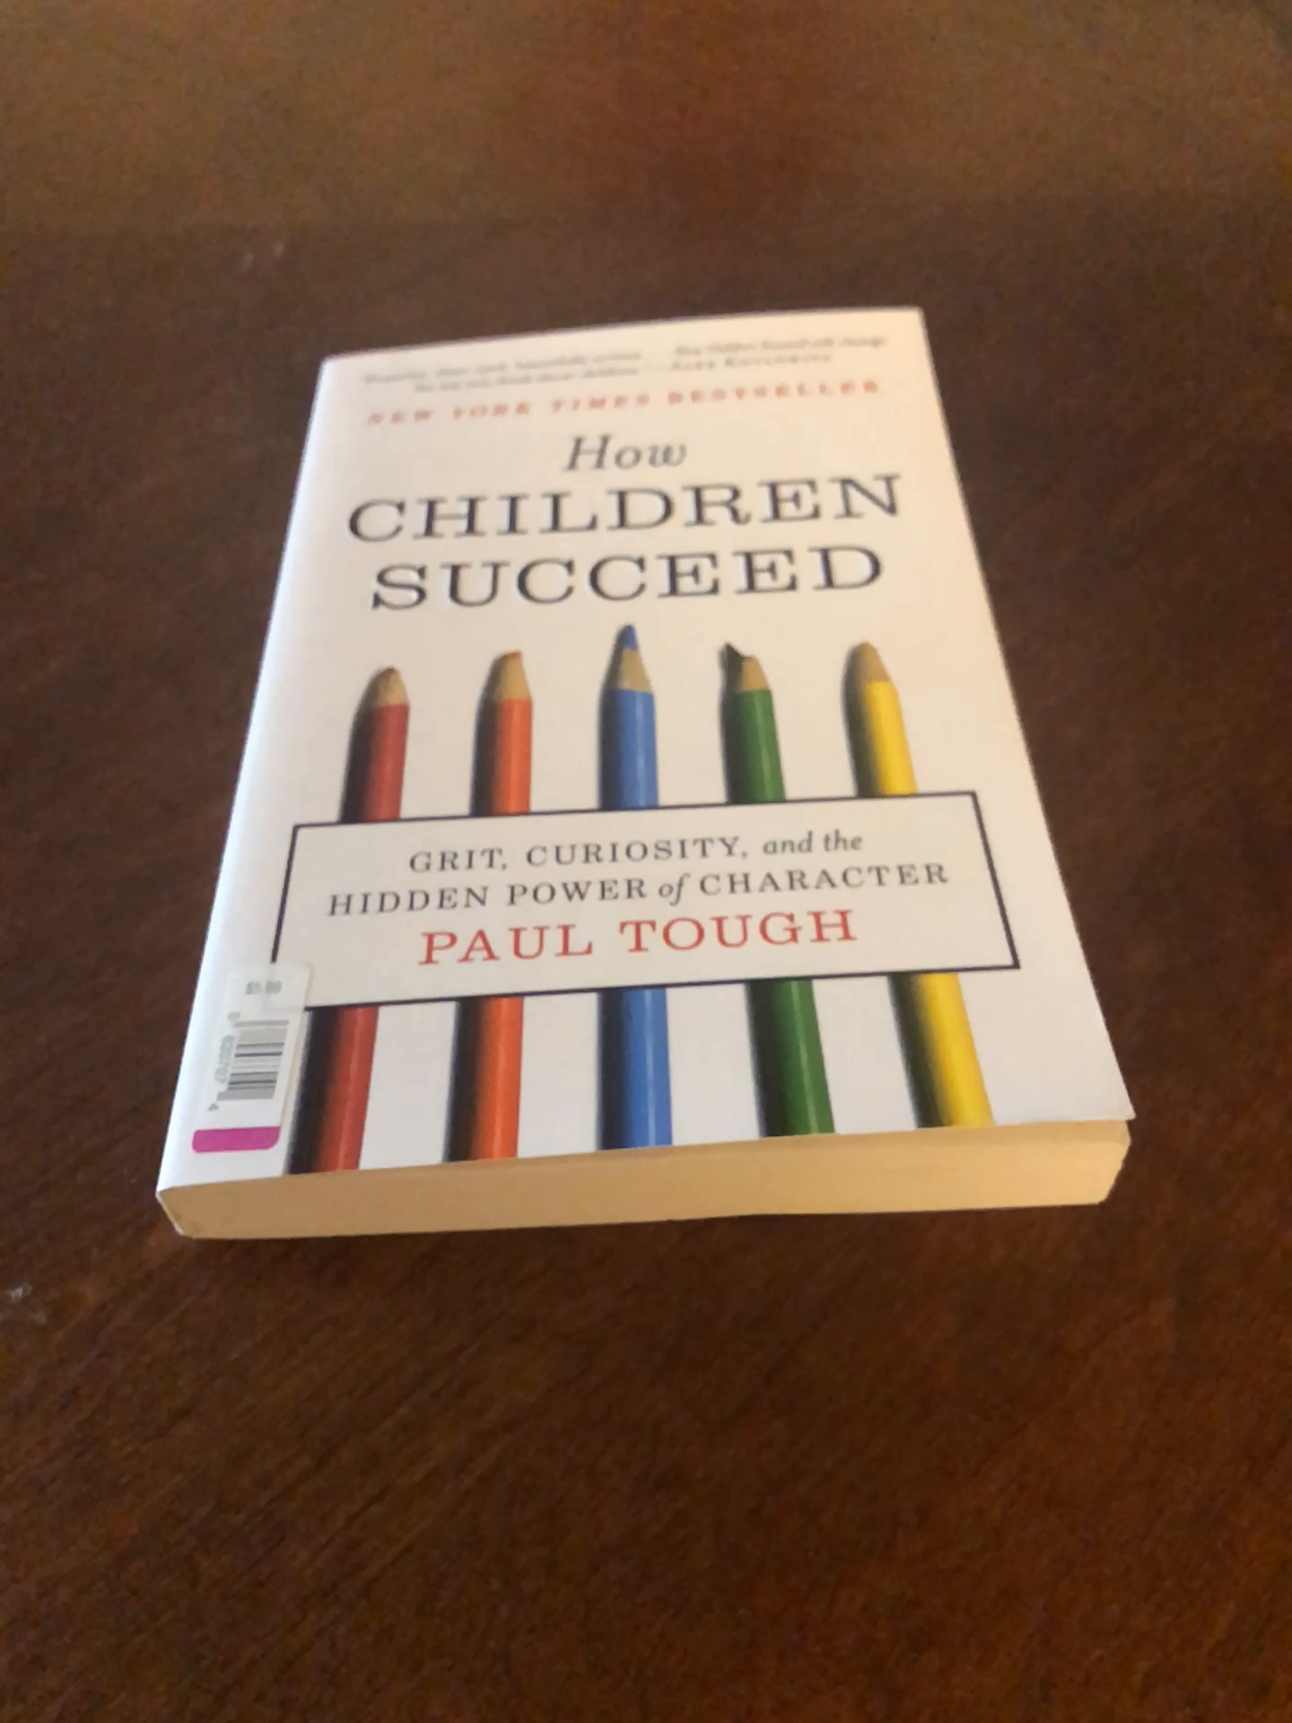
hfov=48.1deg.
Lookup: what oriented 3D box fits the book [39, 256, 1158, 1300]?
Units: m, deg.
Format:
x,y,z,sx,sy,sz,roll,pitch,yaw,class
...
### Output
x,y,z,sx,sy,sz,roll,pitch,yaw,class
-0.009,-0.033,0.258,0.140,0.030,0.211,-3,52,2,book
